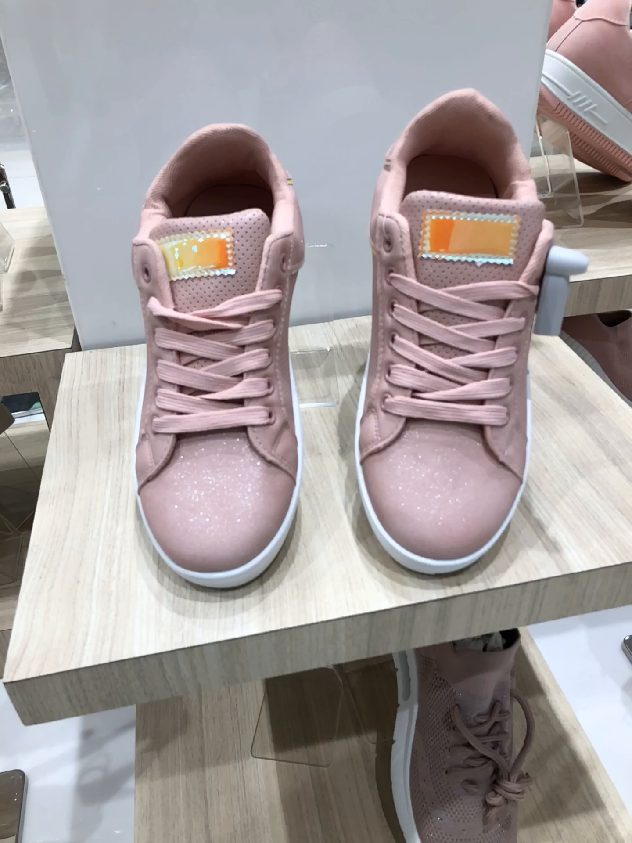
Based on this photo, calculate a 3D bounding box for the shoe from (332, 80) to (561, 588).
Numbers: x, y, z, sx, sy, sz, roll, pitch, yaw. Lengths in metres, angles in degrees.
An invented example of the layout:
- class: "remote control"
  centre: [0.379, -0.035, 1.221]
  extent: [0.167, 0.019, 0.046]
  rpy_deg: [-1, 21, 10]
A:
- class: "shoe"
  centre: [0.072, -0.044, 0.389]
  extent: [0.100, 0.250, 0.100]
  rpy_deg: [3, -7, 8]

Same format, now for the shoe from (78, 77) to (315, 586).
- class: "shoe"
  centre: [-0.056, -0.044, 0.388]
  extent: [0.100, 0.100, 0.261]
  rpy_deg: [-2, 75, 3]
